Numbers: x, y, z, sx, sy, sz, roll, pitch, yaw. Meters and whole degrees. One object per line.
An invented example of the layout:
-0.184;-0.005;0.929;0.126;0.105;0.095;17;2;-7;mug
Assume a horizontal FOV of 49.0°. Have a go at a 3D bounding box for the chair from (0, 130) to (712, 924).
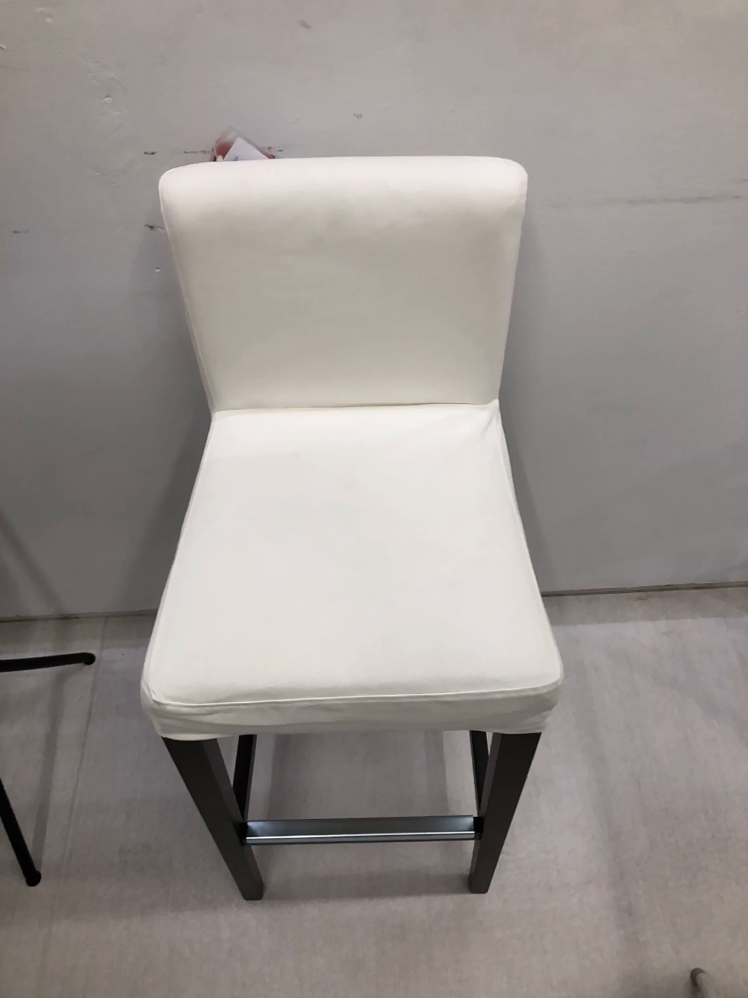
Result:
-0.017;0.114;0.989;0.440;0.855;0.533;-2;51;0;chair
